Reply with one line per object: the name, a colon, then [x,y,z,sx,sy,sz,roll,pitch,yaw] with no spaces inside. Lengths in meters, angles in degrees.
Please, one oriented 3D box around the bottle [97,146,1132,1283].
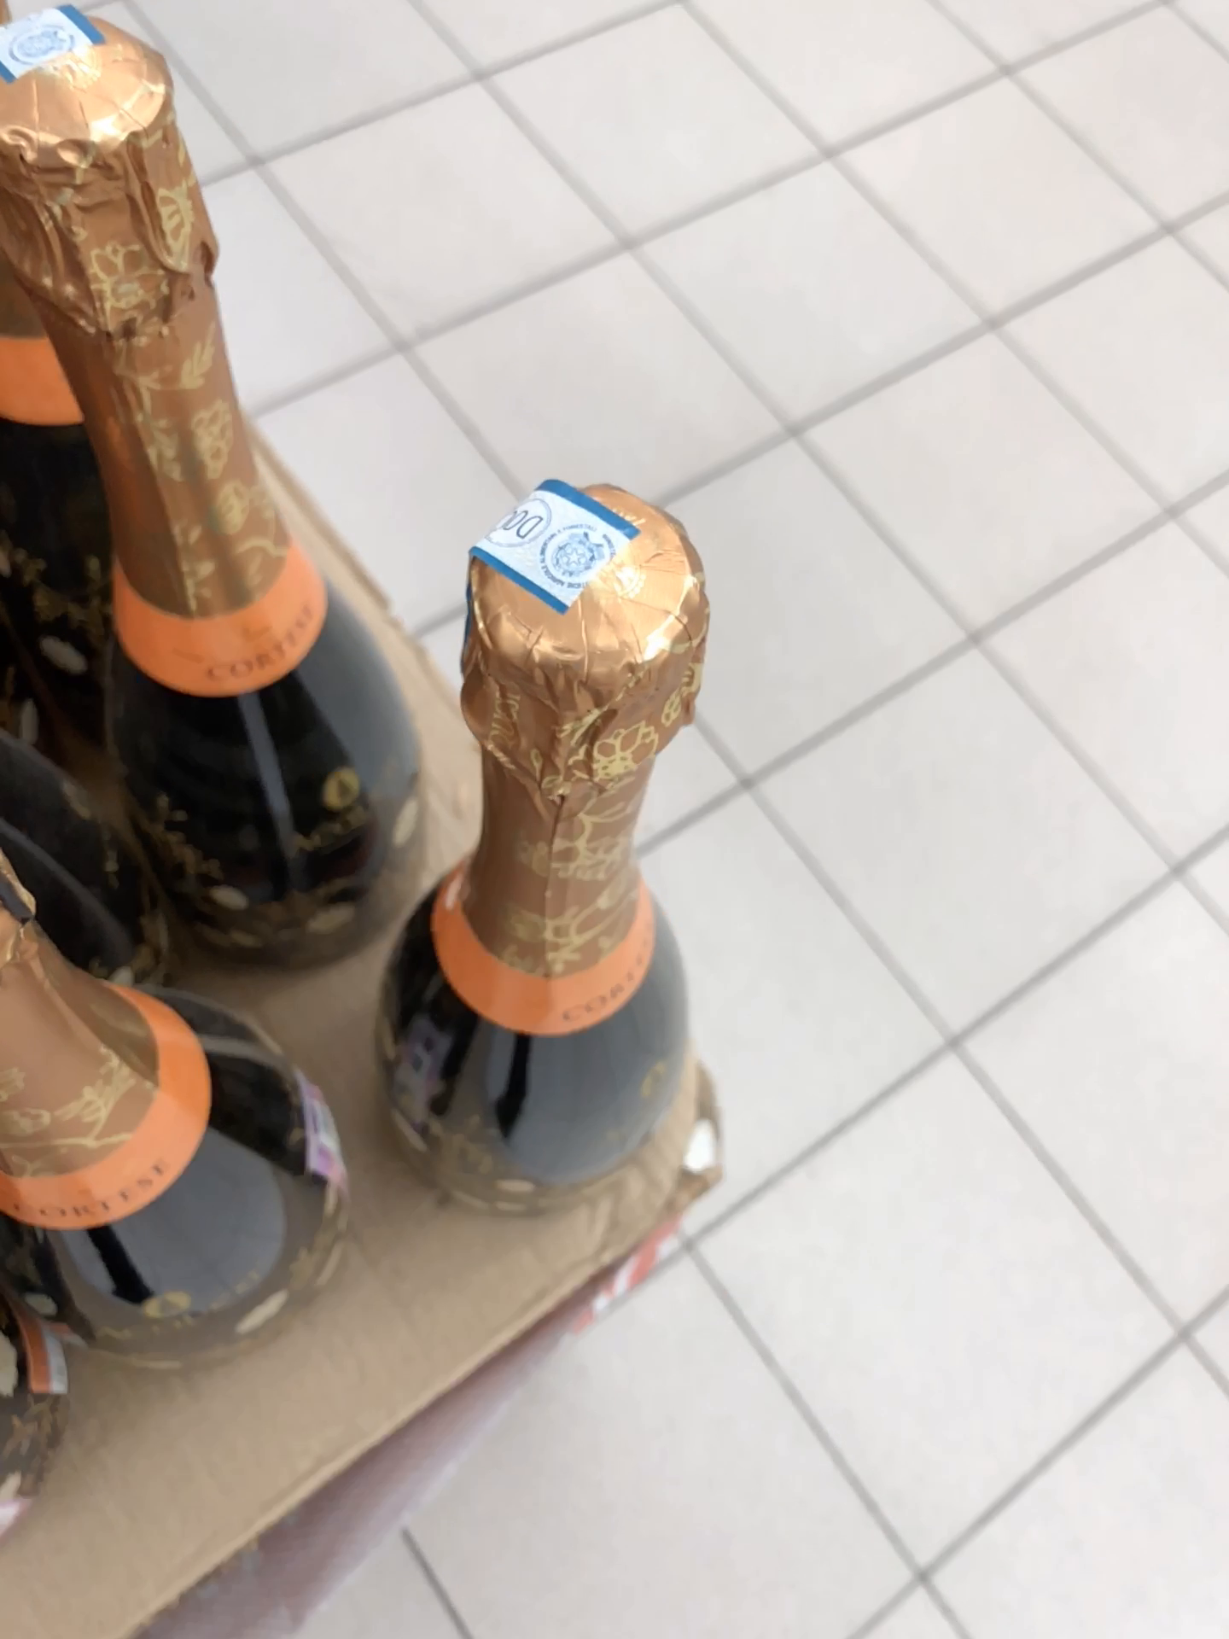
bottle: [-0.015,0.023,0.332,0.100,0.319,0.100,3,67,-6]
